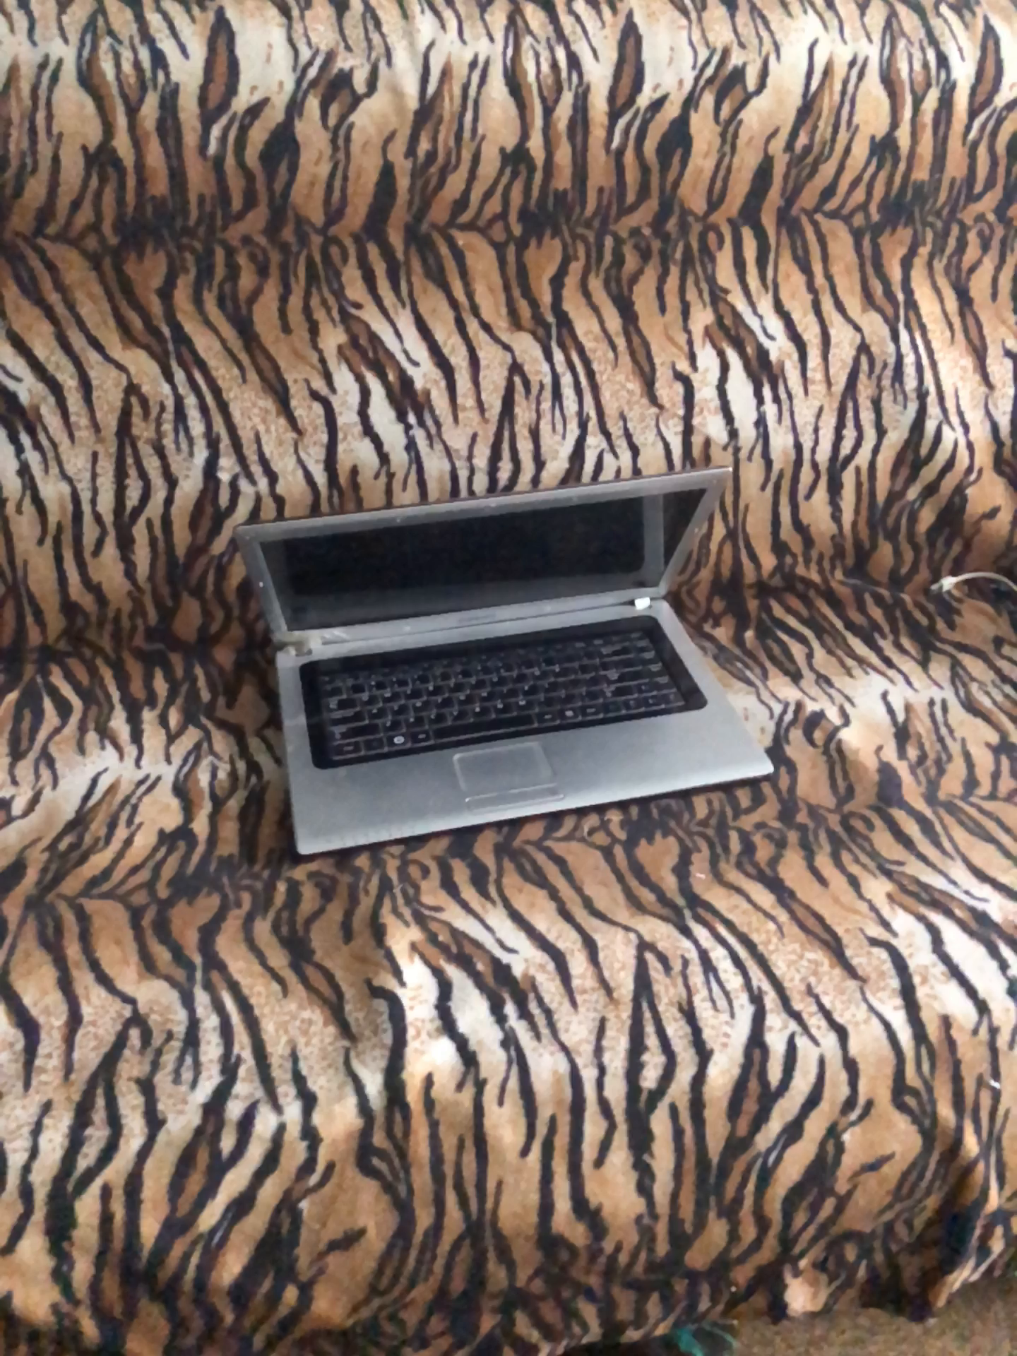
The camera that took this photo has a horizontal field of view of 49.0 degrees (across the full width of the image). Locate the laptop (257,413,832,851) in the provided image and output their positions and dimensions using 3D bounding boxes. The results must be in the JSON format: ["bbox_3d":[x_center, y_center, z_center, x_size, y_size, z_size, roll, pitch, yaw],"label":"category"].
[{"bbox_3d":[0.006,-0.048,0.834,0.350,0.179,0.239,-8,39,-11],"label":"laptop"}]
